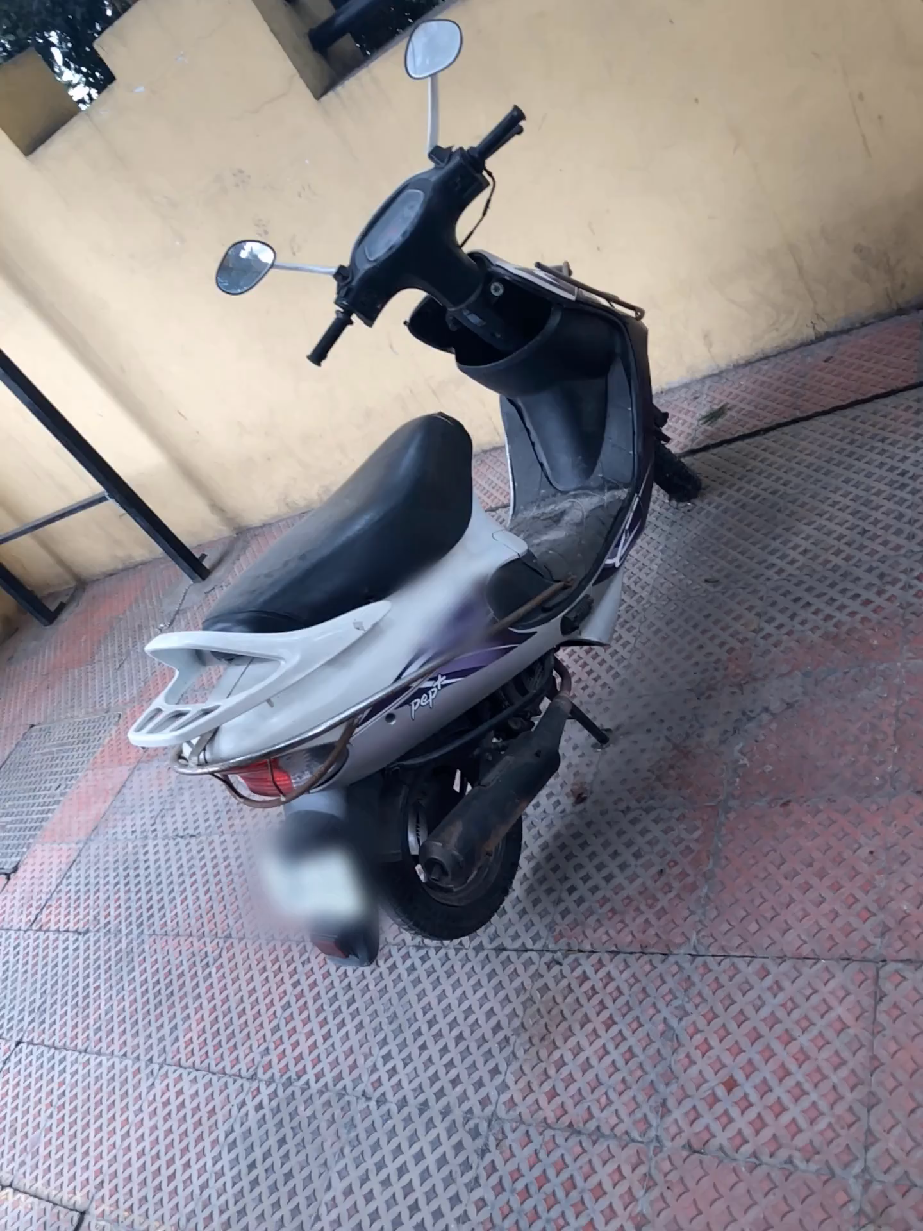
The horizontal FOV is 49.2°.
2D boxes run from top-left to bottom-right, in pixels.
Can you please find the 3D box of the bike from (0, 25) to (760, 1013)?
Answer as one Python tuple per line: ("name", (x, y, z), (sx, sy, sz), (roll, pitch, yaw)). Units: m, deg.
("bike", (0.002, -0.220, 2.046), (0.600, 1.081, 1.477), (-11, 41, 39))
